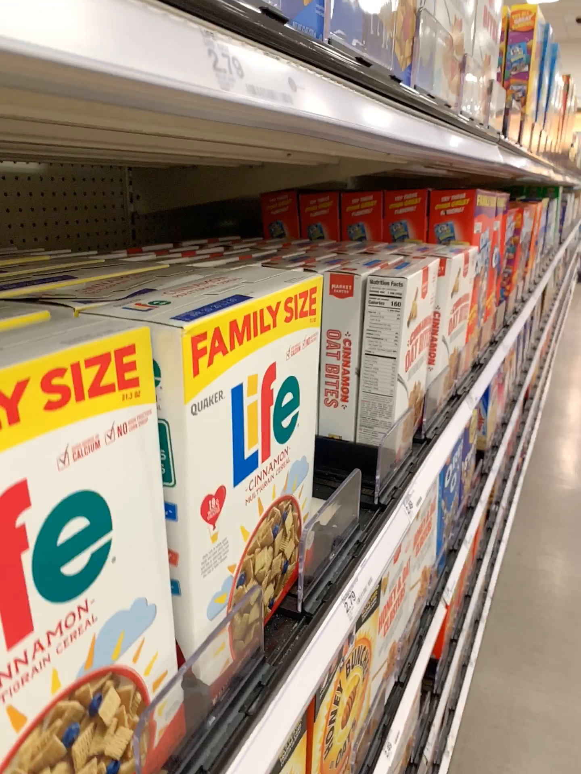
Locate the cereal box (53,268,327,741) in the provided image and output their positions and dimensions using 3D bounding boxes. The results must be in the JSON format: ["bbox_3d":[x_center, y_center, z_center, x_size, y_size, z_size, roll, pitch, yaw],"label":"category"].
[{"bbox_3d":[-0.051,0.062,0.421,0.070,0.259,0.191,11,22,26],"label":"cereal box"}]
